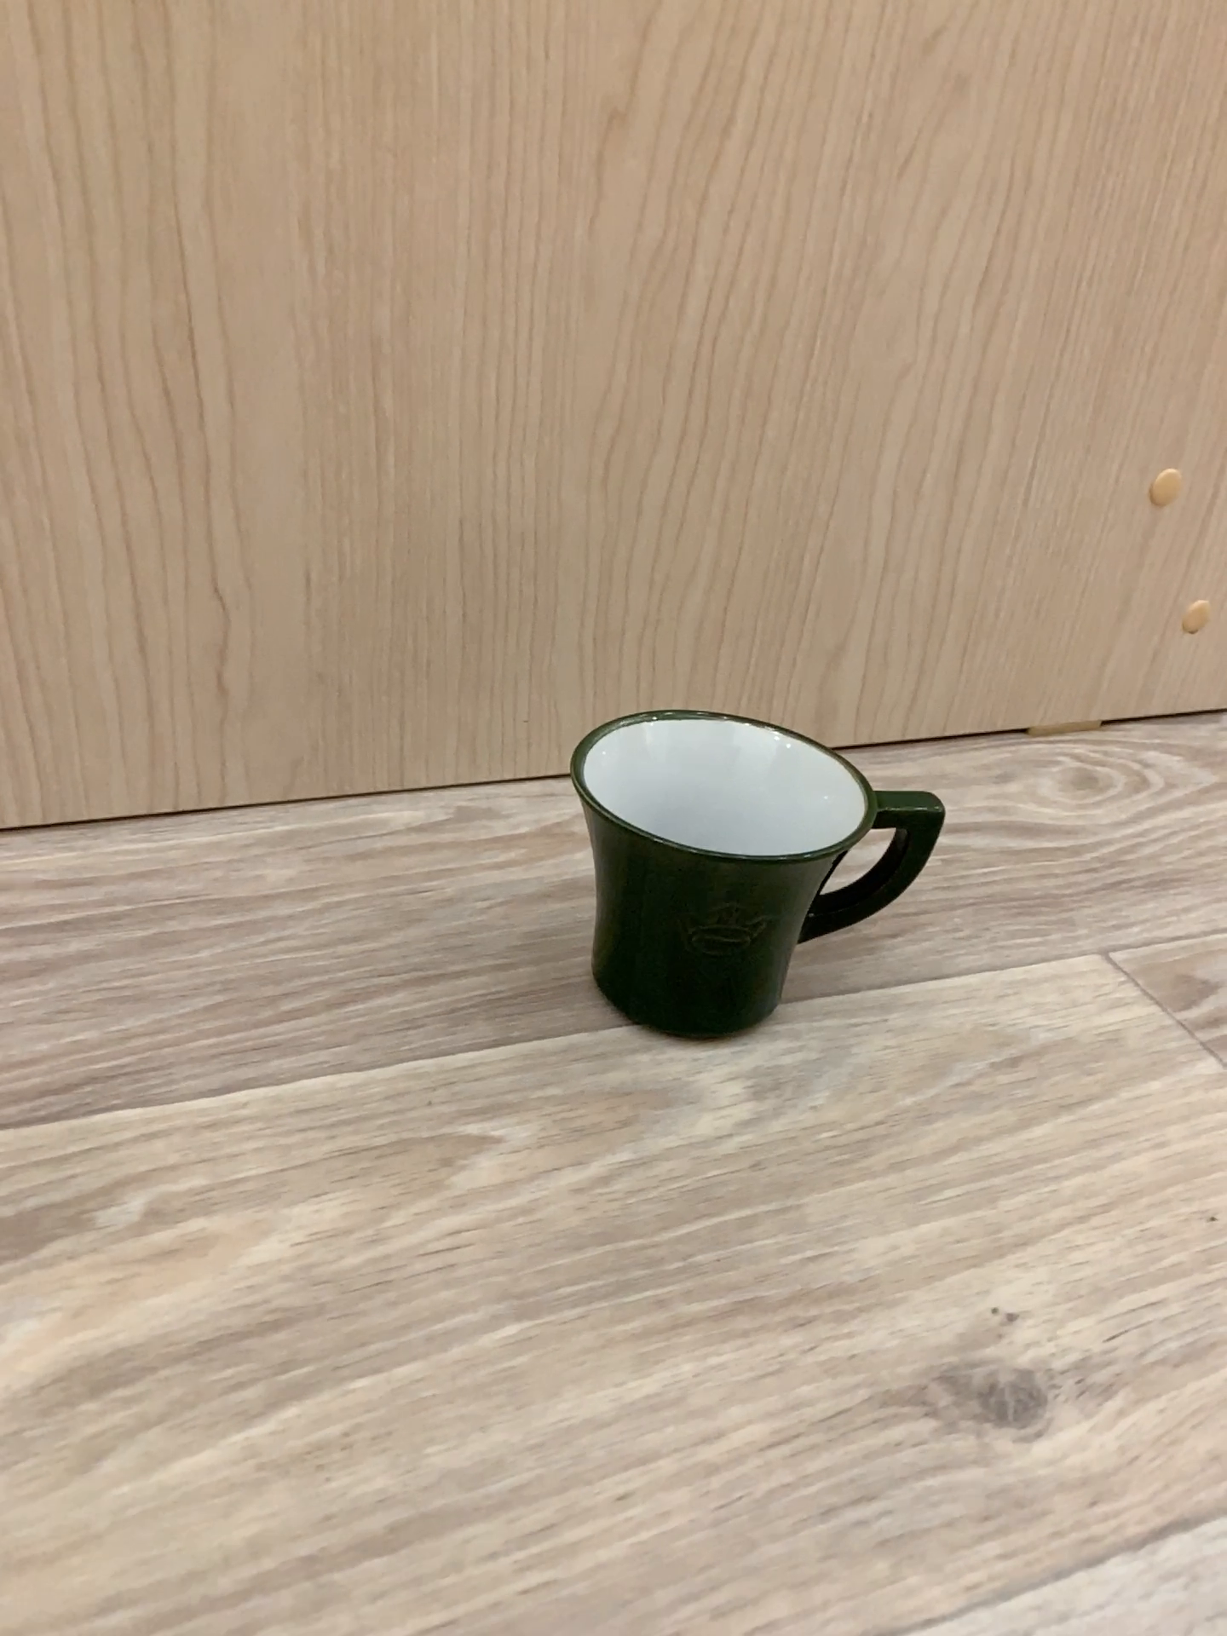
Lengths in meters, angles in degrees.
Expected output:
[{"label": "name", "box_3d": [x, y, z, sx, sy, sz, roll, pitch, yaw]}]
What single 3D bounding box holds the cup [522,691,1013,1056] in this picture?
[{"label": "cup", "box_3d": [0.037, 0.011, 0.352, 0.106, 0.061, 0.075, -5, 31, -18]}]
